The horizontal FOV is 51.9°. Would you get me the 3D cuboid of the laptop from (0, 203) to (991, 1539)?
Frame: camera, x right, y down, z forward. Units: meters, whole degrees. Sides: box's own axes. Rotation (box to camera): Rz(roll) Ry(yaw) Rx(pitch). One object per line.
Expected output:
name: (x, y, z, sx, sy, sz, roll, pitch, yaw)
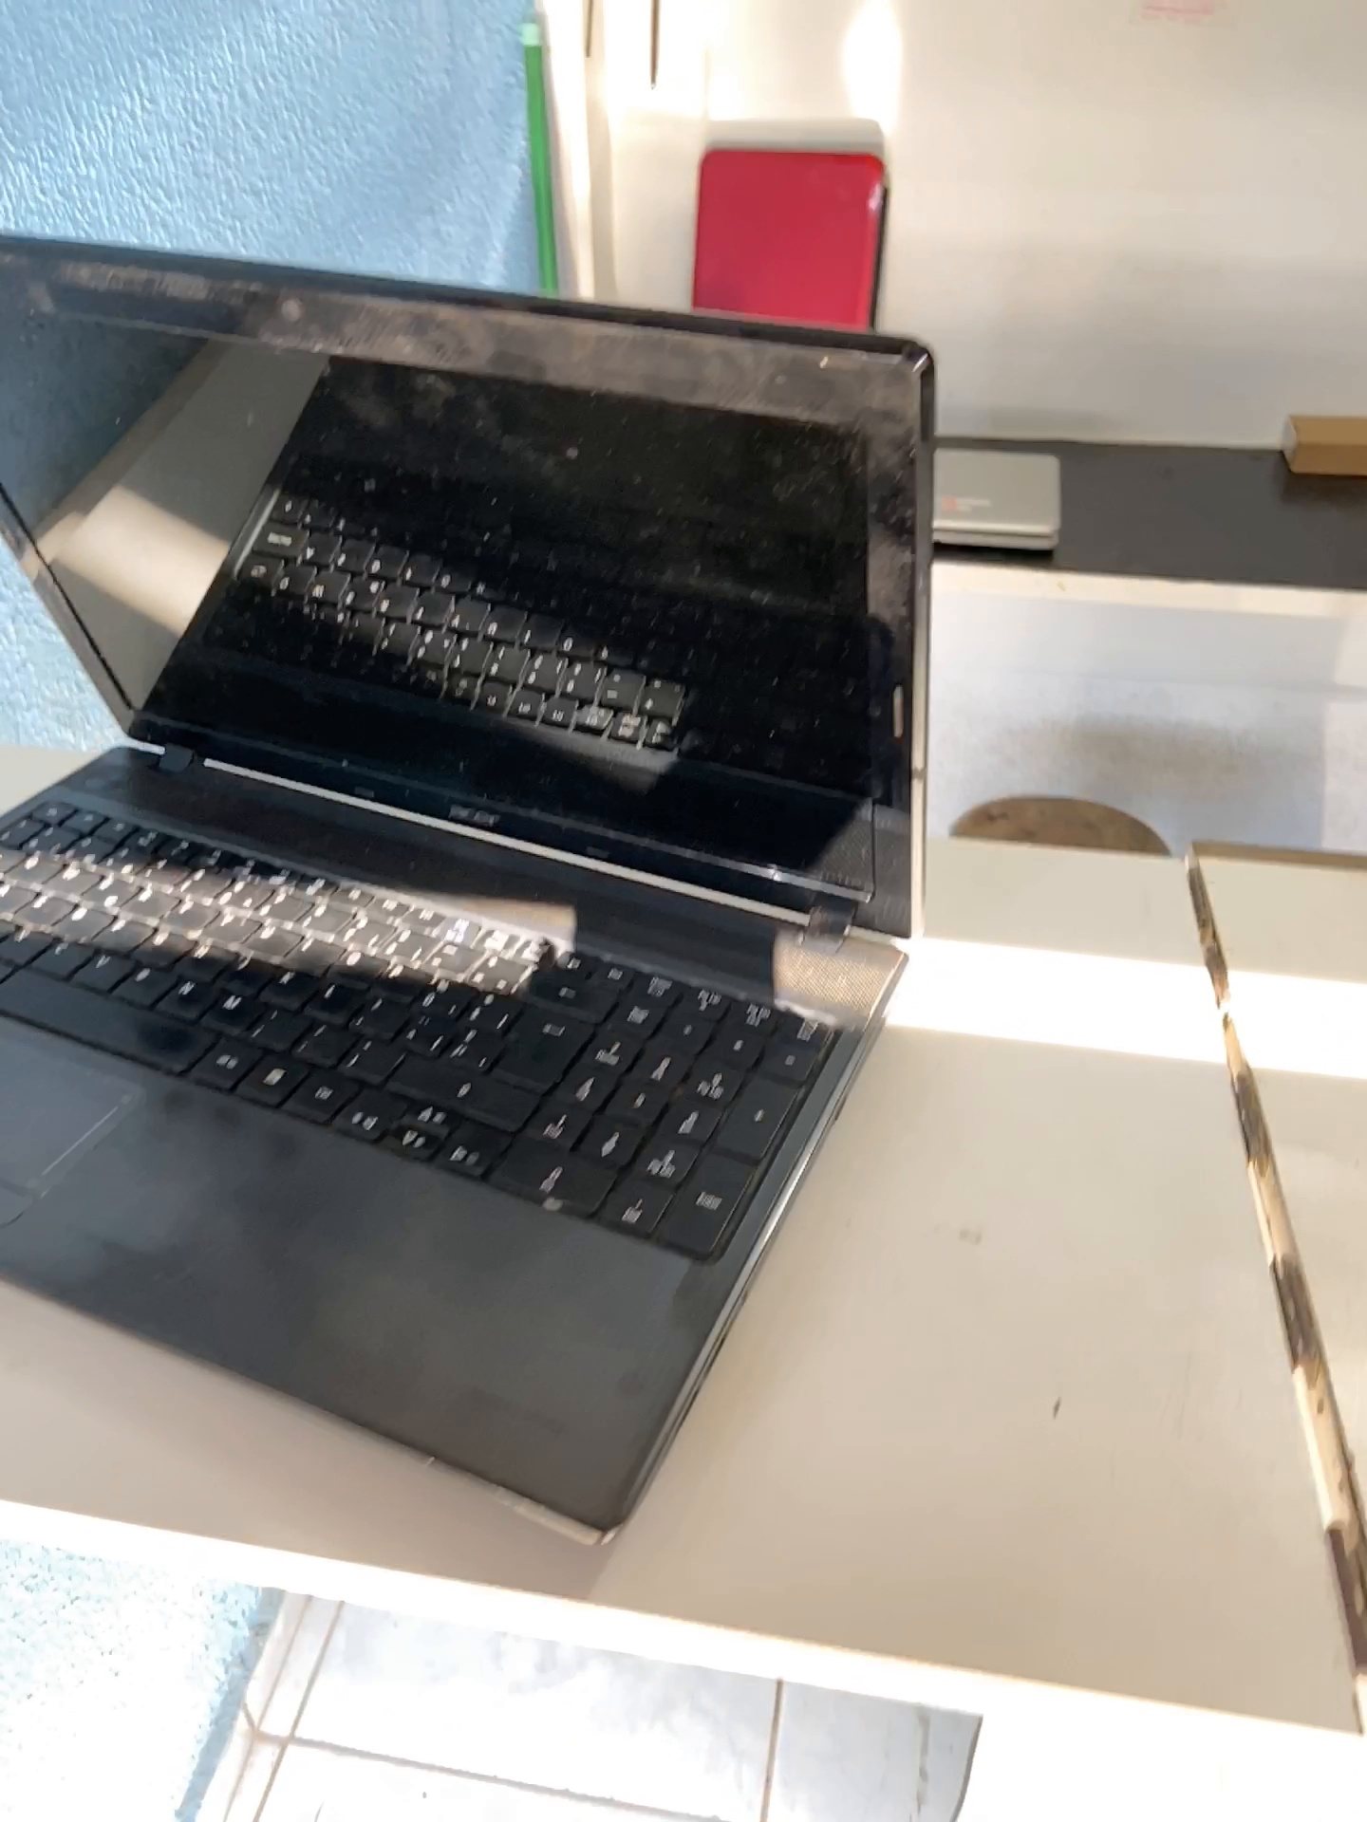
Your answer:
laptop: (-0.133, -0.056, 0.432, 0.374, 0.234, 0.255, 15, 38, 20)
